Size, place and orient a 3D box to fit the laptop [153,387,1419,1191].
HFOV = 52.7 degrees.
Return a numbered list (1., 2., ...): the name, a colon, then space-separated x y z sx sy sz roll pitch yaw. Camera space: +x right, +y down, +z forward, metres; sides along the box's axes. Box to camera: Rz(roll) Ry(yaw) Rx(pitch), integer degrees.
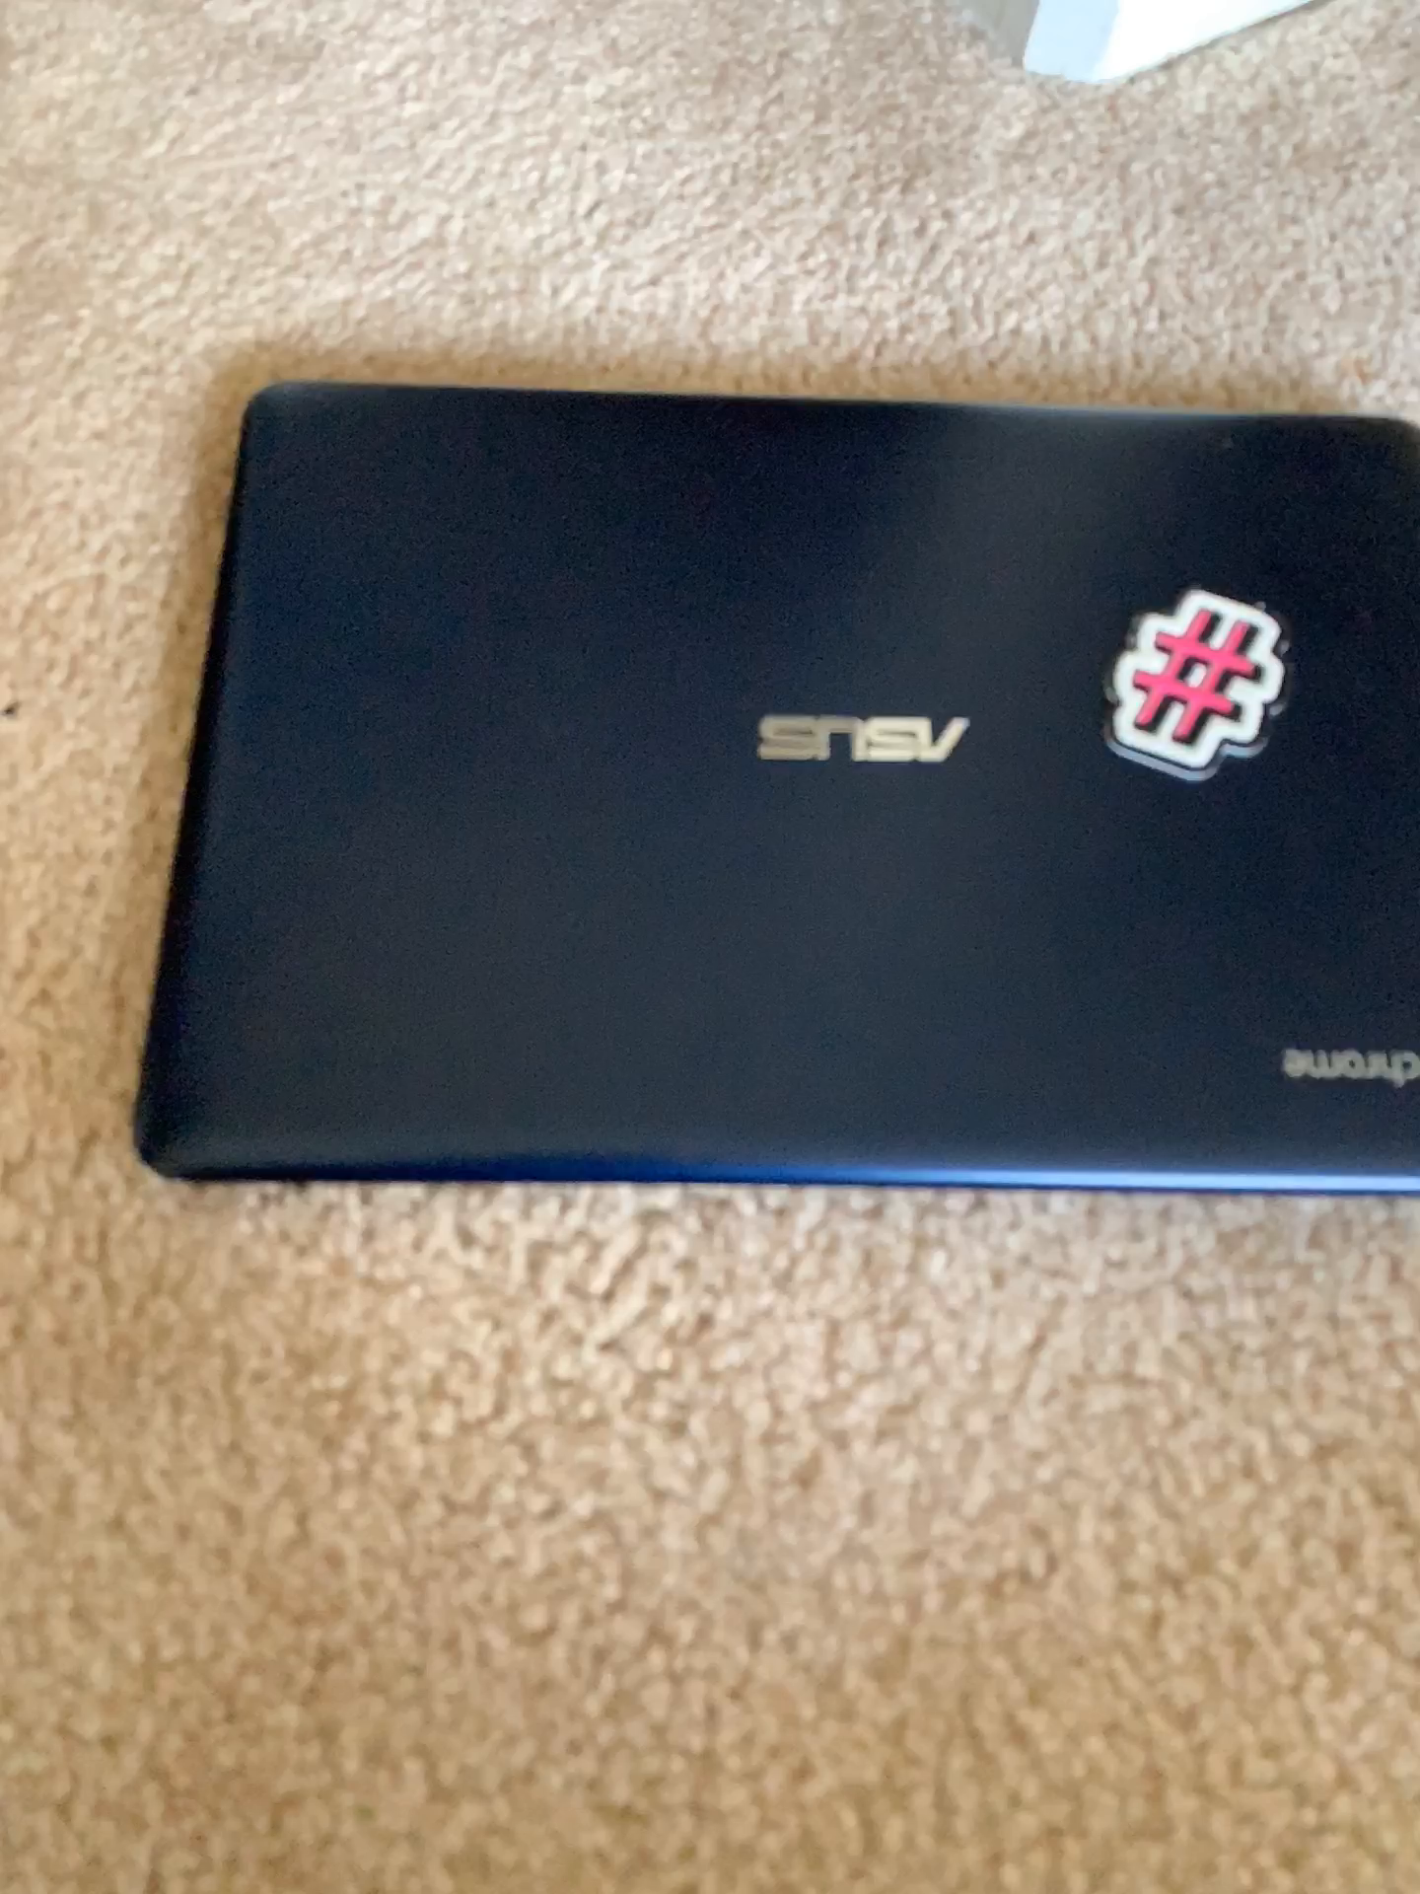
1. laptop: 0.031 -0.041 0.308 0.271 0.006 0.182 1 69 -3
